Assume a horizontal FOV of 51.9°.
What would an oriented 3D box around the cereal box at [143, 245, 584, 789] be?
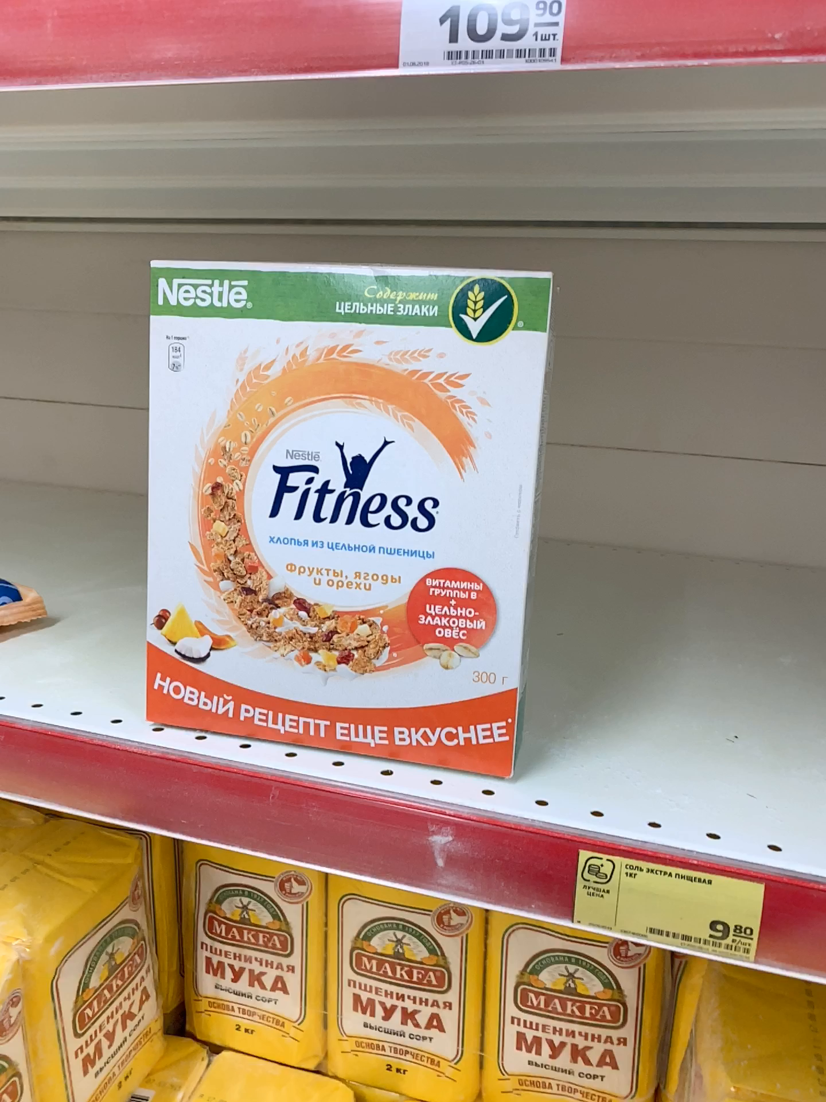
[{"bbox_3d":[-0.027,-0.022,0.431,0.200,0.239,0.060,6,8,13],"label":"cereal box"}]
